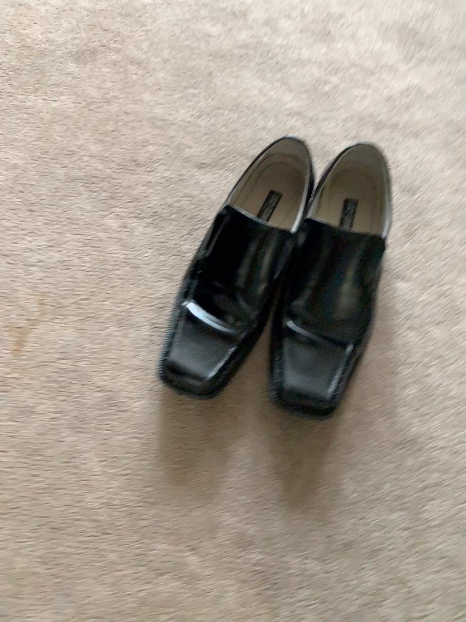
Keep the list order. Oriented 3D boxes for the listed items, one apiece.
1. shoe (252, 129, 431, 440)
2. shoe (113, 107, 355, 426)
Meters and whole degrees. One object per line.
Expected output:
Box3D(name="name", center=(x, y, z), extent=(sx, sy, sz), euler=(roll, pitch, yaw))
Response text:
Box3D(name="shoe", center=(0.121, -0.030, 0.539), extent=(0.110, 0.120, 0.311), euler=(16, 71, 4))
Box3D(name="shoe", center=(0.010, -0.050, 0.534), extent=(0.110, 0.120, 0.321), euler=(26, 72, 7))
